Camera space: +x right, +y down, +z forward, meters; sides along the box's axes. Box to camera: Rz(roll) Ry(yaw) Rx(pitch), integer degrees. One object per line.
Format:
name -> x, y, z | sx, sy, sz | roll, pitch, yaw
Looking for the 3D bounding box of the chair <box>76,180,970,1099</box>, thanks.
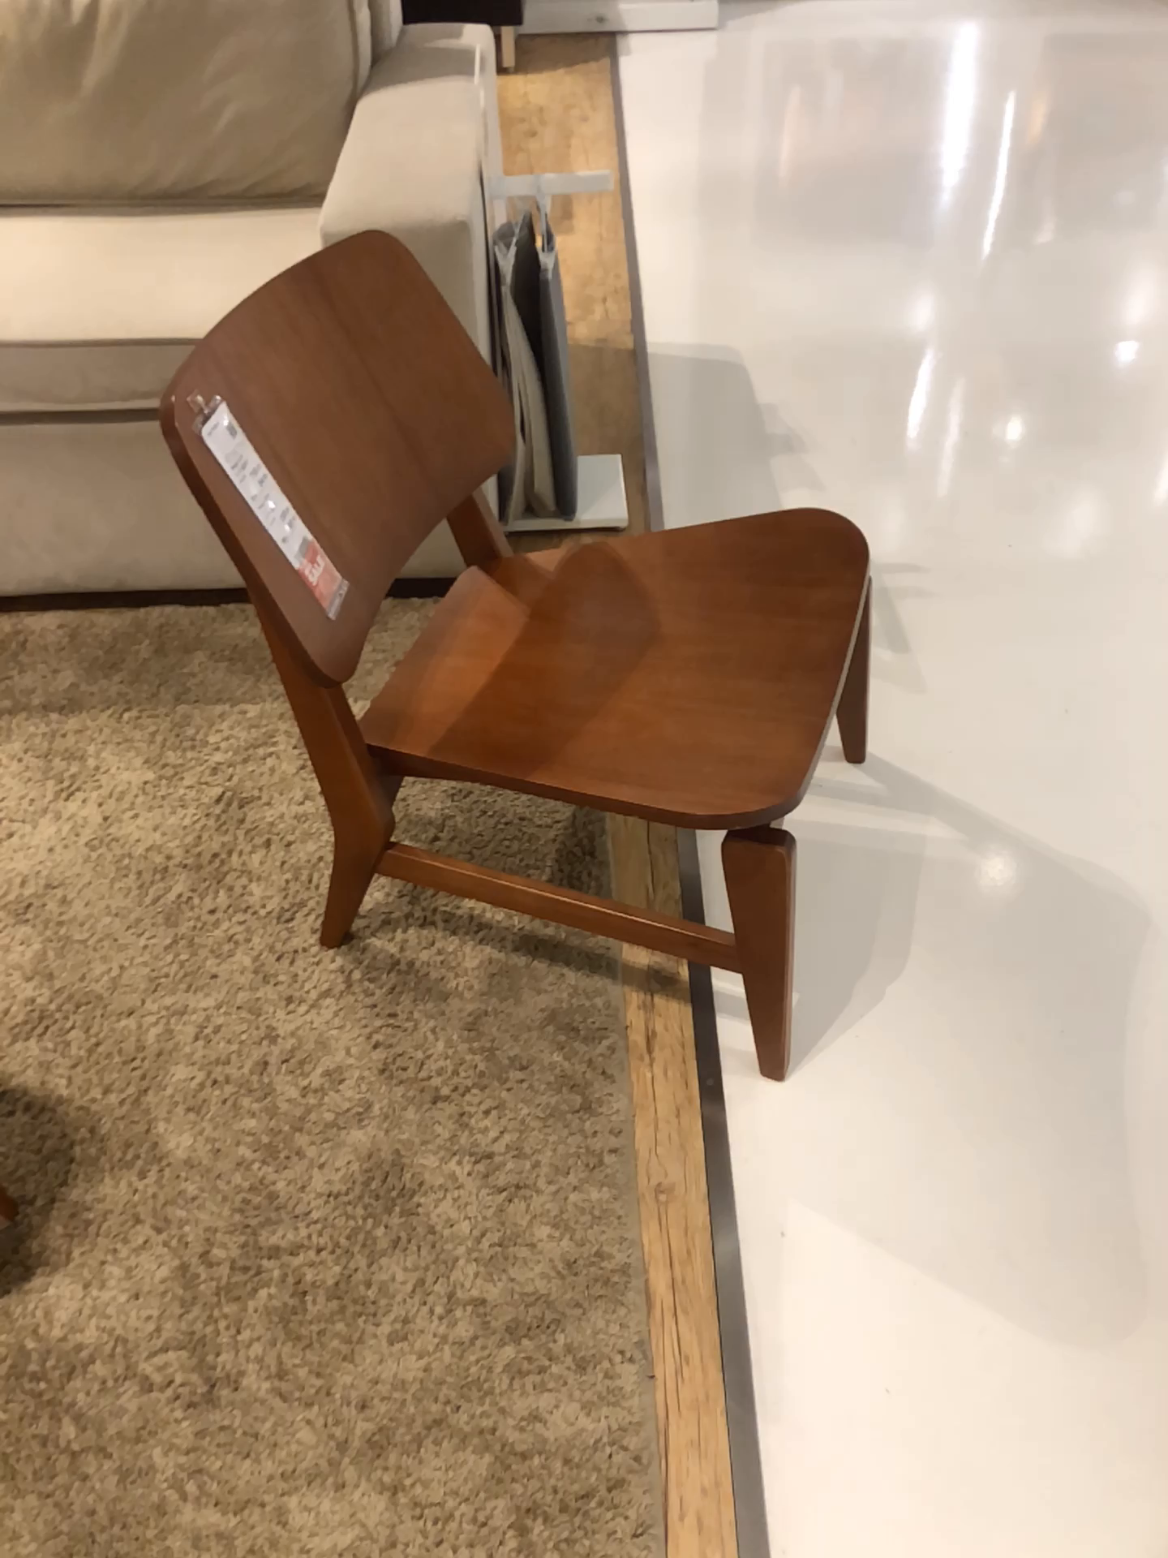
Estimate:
chair -> -0.001, -0.167, 1.355 | 0.630, 0.655, 0.584 | 11, 45, 14
